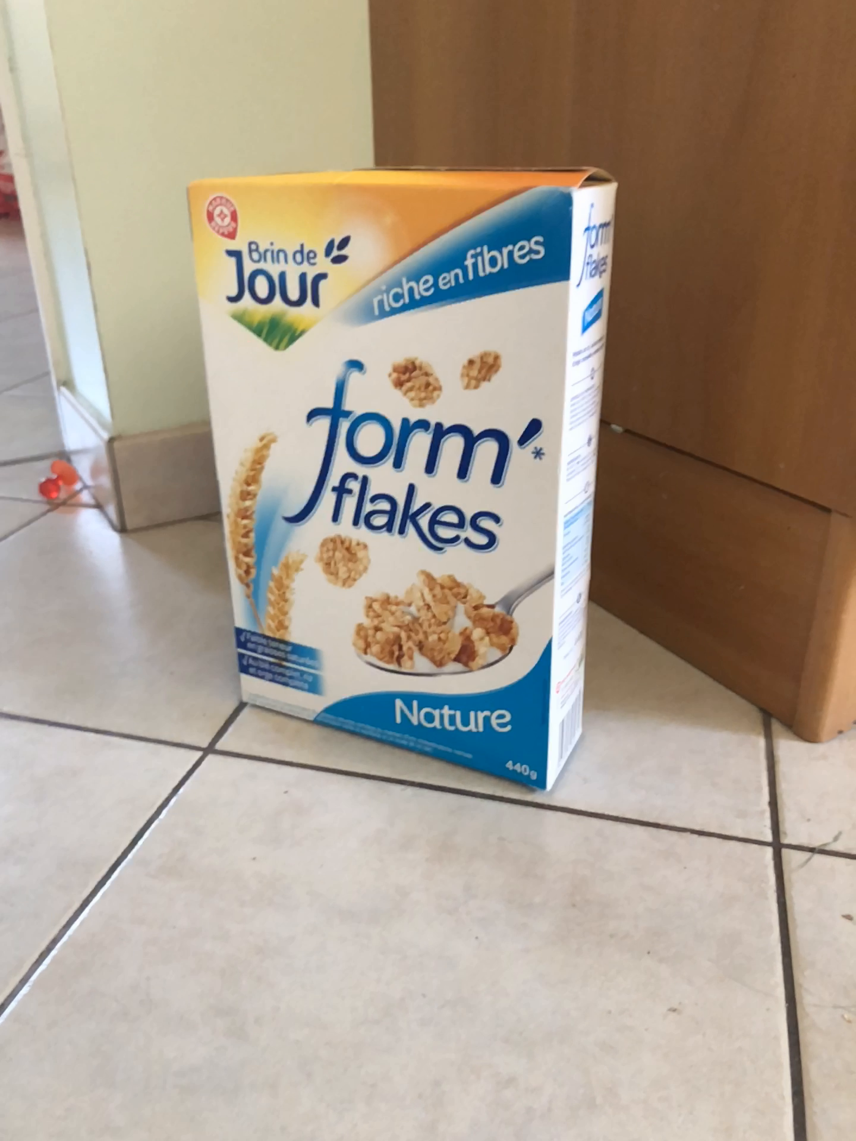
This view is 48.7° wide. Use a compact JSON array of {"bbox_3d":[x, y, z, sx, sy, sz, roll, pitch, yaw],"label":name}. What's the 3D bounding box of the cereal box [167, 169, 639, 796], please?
[{"bbox_3d":[-0.015,-0.049,0.476,0.200,0.279,0.070,12,26,24],"label":"cereal box"}]
